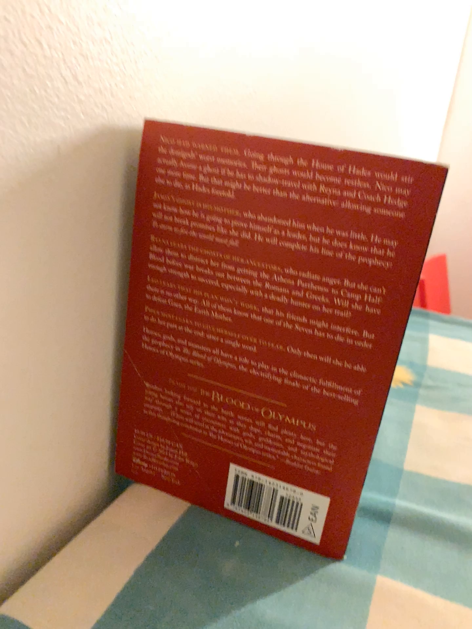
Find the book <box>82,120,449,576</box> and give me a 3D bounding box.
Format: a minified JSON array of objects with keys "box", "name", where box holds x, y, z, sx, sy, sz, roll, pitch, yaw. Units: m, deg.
[{"box":[0.003,0.009,0.243,0.150,0.180,0.051,14,19,21],"name":"book"}]
